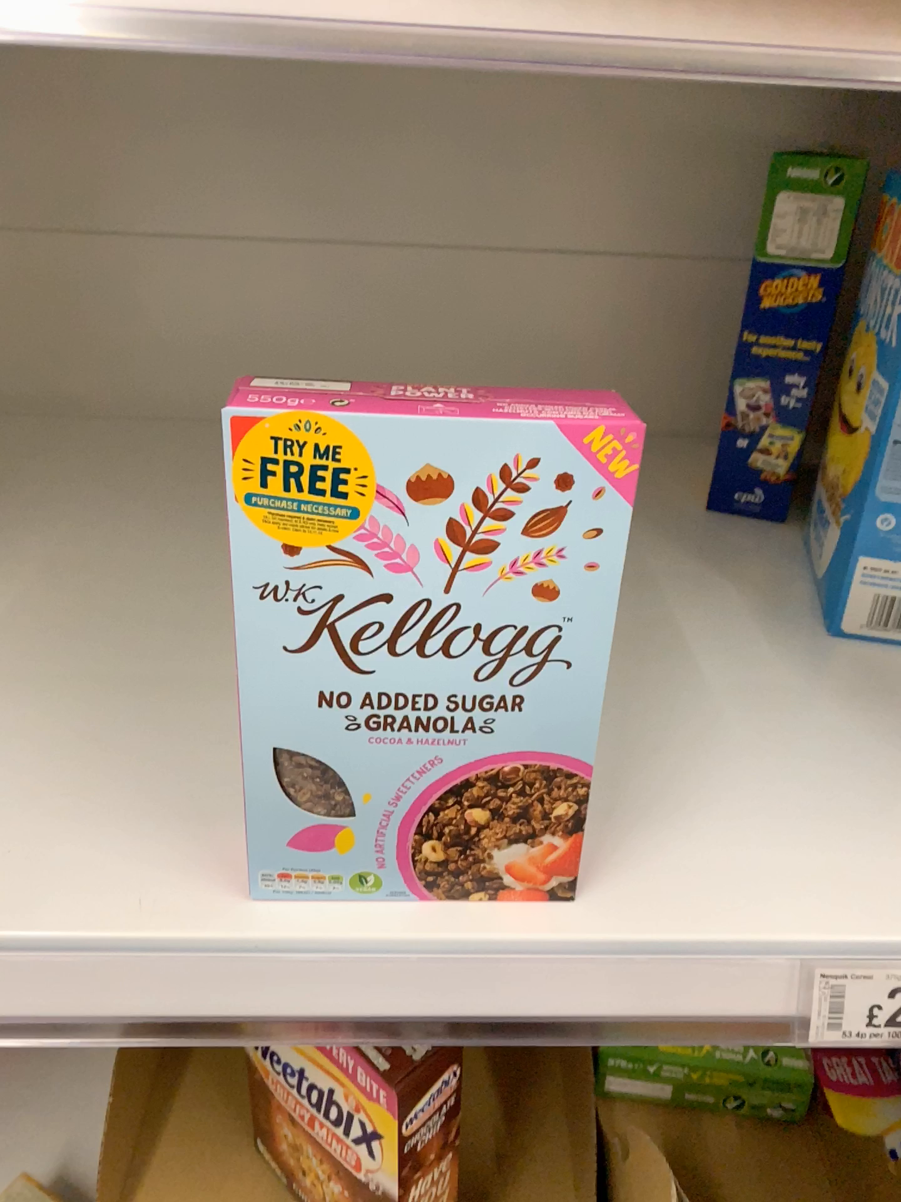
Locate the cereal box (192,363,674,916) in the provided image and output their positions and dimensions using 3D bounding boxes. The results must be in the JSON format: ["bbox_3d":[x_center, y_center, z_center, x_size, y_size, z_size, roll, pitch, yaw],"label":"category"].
[{"bbox_3d":[-0.012,0.029,0.408,0.170,0.248,0.050,1,29,-3],"label":"cereal box"}]
